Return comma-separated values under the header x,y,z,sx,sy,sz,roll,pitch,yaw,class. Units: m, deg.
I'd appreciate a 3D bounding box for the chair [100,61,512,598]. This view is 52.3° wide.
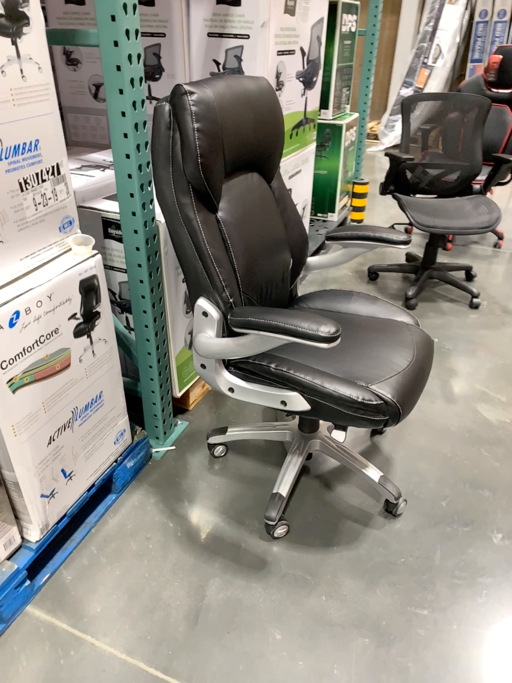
x,y,z,sx,sy,sz,roll,pitch,yaw,class
0.172,-0.098,1.432,0.705,1.128,0.731,16,34,23,chair

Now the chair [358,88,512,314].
x,y,z,sx,sy,sz,roll,pitch,yaw,class
0.946,-0.744,2.678,0.638,0.919,0.788,2,31,2,chair
